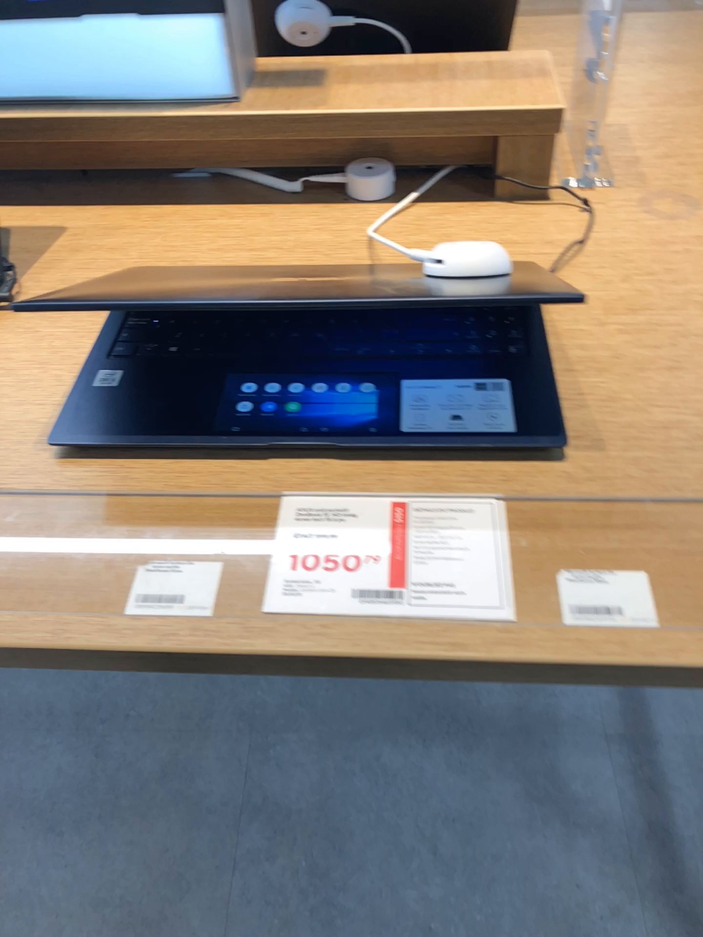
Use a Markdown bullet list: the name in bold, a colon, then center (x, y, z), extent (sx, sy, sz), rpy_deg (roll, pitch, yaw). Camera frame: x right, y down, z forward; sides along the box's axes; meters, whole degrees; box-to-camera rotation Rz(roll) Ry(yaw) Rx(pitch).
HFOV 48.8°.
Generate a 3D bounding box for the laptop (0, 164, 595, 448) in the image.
- **laptop**: center (-0.029, -0.122, 0.555), extent (0.352, 0.098, 0.209), rpy_deg (0, 45, 3)
